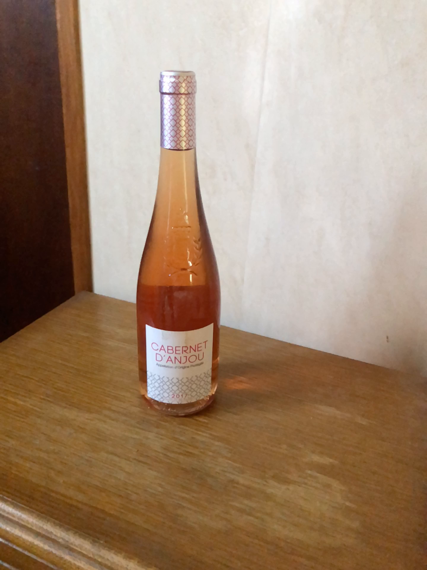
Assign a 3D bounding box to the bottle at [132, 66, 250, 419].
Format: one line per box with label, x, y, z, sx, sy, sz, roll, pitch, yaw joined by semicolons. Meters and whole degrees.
bottle;-0.024;-0.029;0.423;0.080;0.298;0.090;3;25;-2
